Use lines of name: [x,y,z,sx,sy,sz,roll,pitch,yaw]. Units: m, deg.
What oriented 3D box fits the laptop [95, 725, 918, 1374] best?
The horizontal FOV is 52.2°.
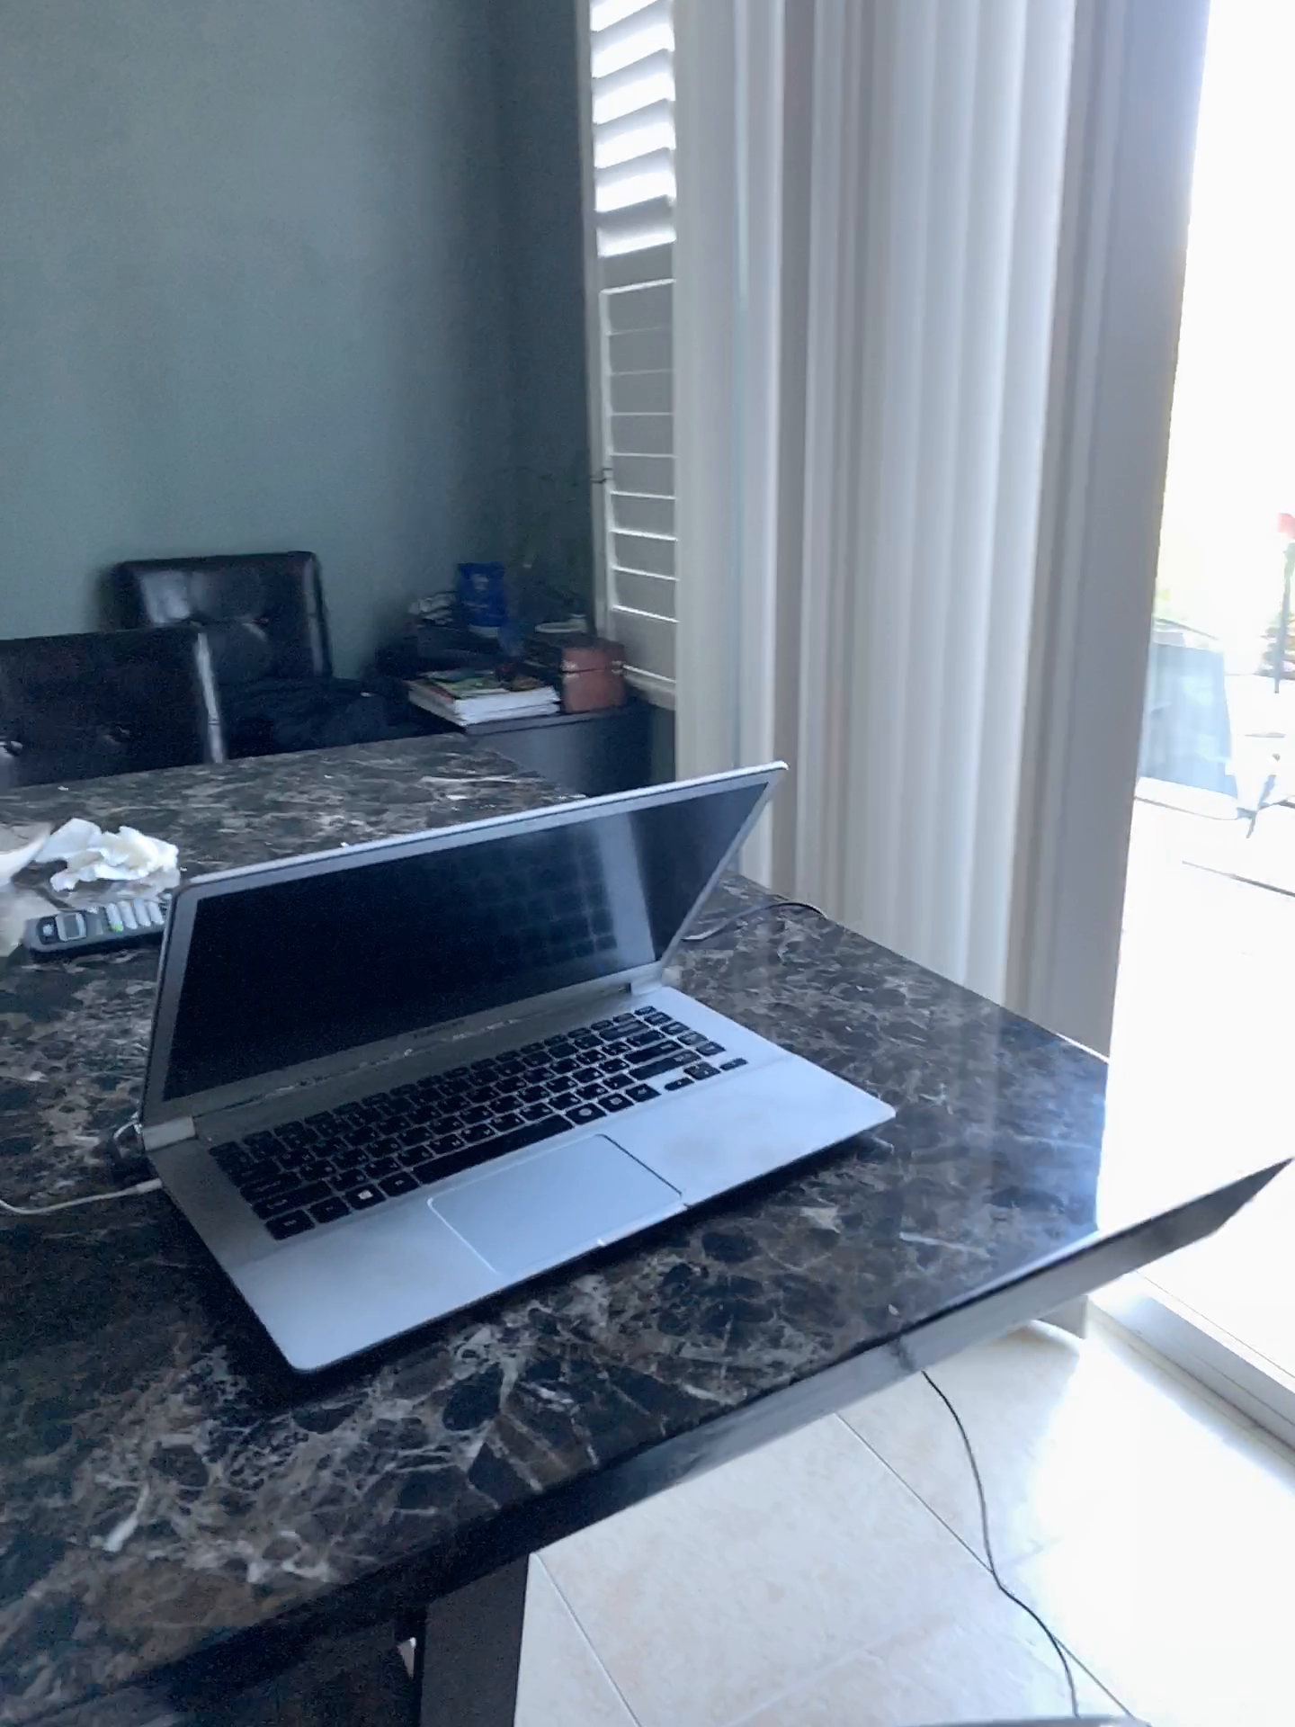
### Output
laptop: [-0.070,0.062,0.723,0.362,0.188,0.234,-13,22,-33]
